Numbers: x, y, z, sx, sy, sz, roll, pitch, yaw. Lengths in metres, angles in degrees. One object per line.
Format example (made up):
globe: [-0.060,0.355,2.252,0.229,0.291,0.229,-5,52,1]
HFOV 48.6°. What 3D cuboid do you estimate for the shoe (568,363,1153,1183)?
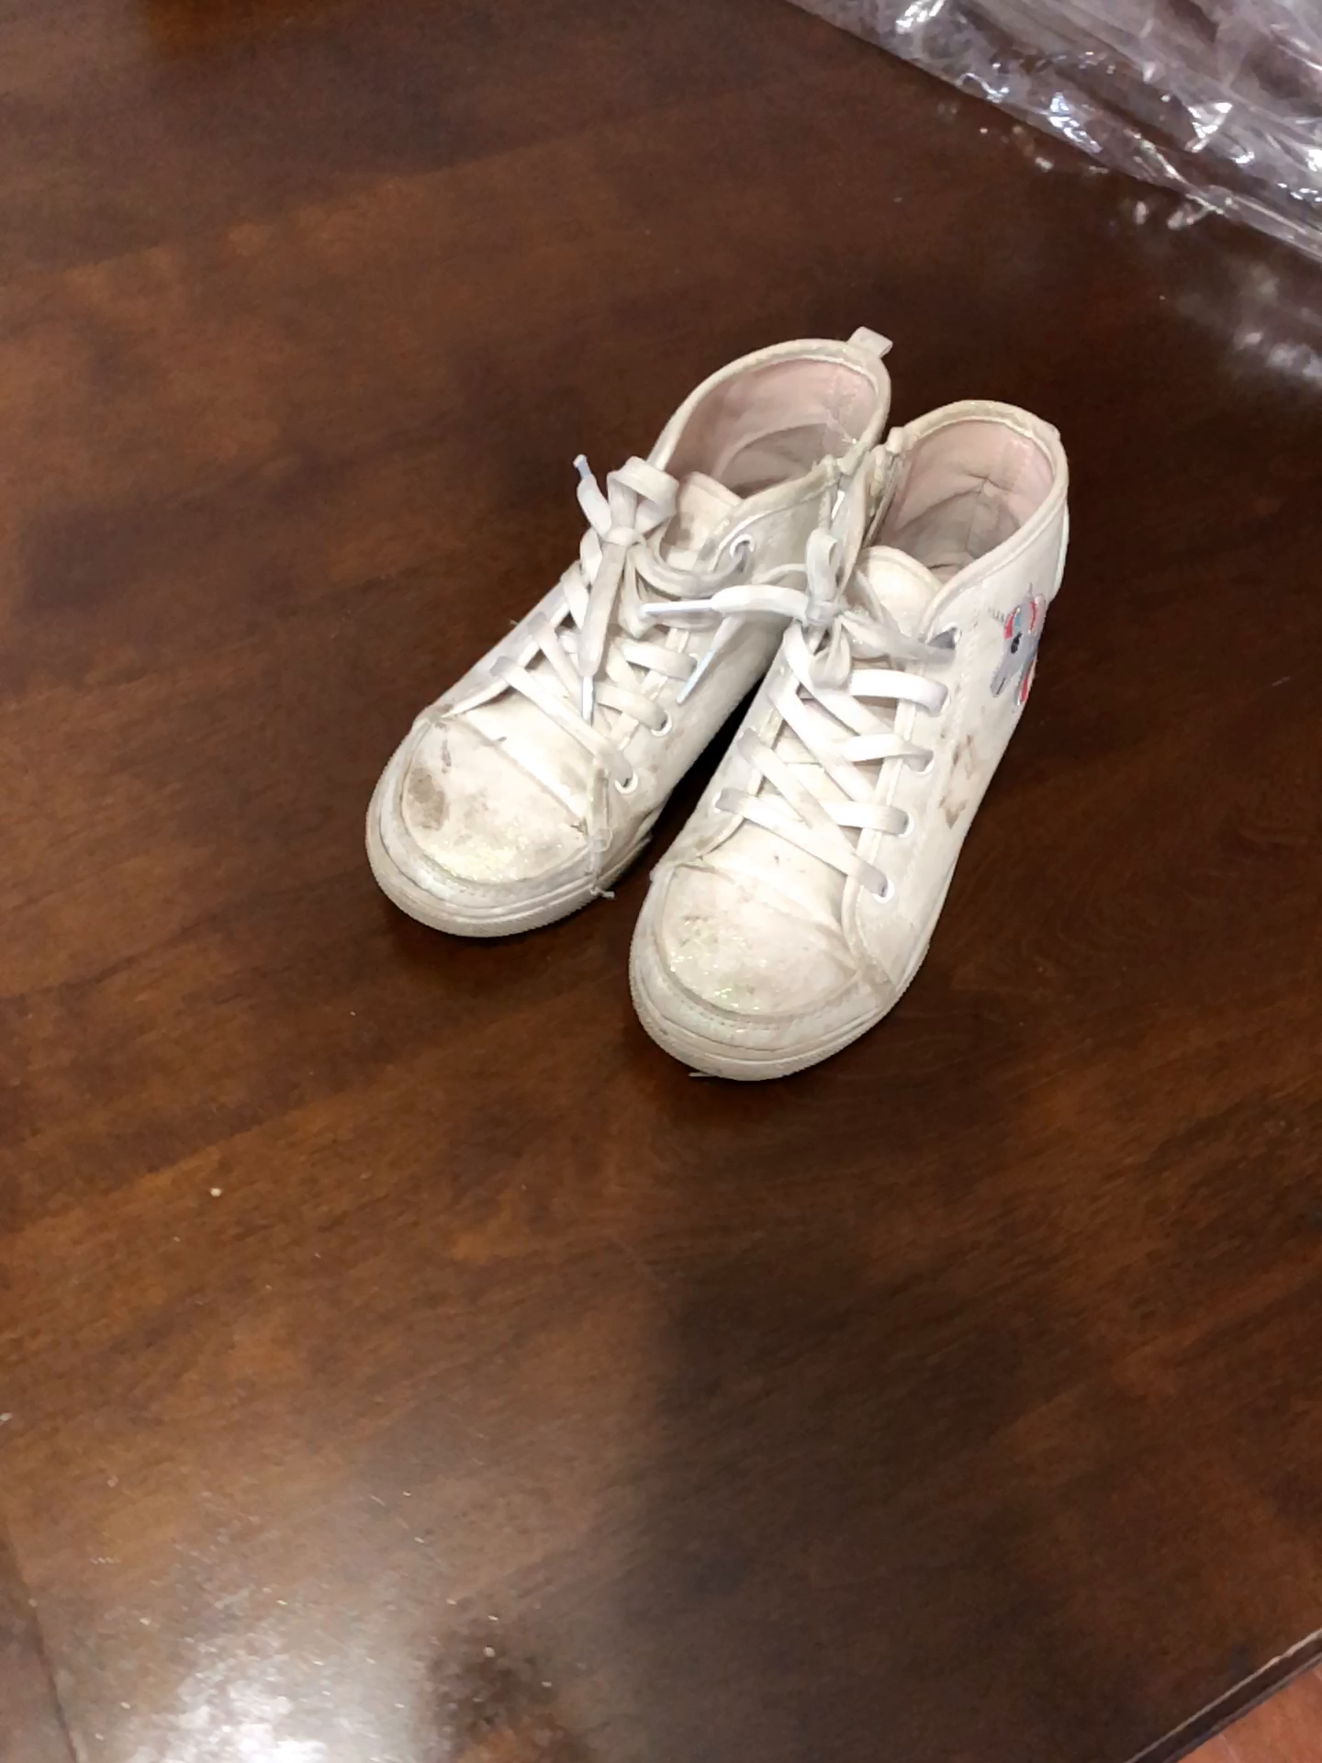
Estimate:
shoe: [0.062,-0.037,0.454,0.090,0.100,0.220,24,63,8]

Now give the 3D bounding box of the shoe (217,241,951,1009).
shoe: [-0.017,-0.084,0.462,0.090,0.100,0.220,36,65,14]
